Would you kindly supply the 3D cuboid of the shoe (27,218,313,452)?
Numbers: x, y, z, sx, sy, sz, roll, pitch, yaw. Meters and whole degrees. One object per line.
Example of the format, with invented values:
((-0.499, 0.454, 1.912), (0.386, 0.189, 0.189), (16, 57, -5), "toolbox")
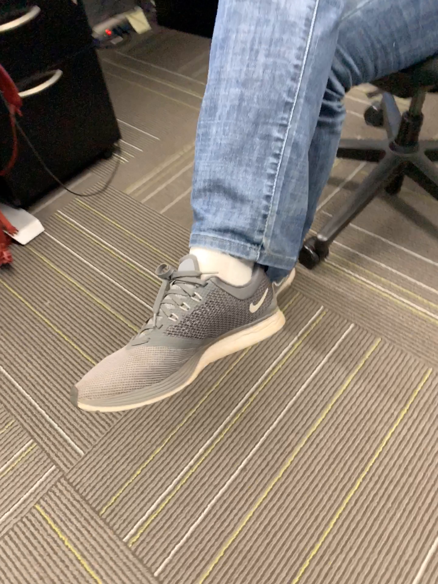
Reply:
((-0.055, 0.034, 0.552), (0.295, 0.142, 0.122), (-26, 12, -23), "shoe")

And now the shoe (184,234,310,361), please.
((0.066, 0.005, 0.983), (0.120, 0.085, 0.269), (34, 63, 28), "shoe")
